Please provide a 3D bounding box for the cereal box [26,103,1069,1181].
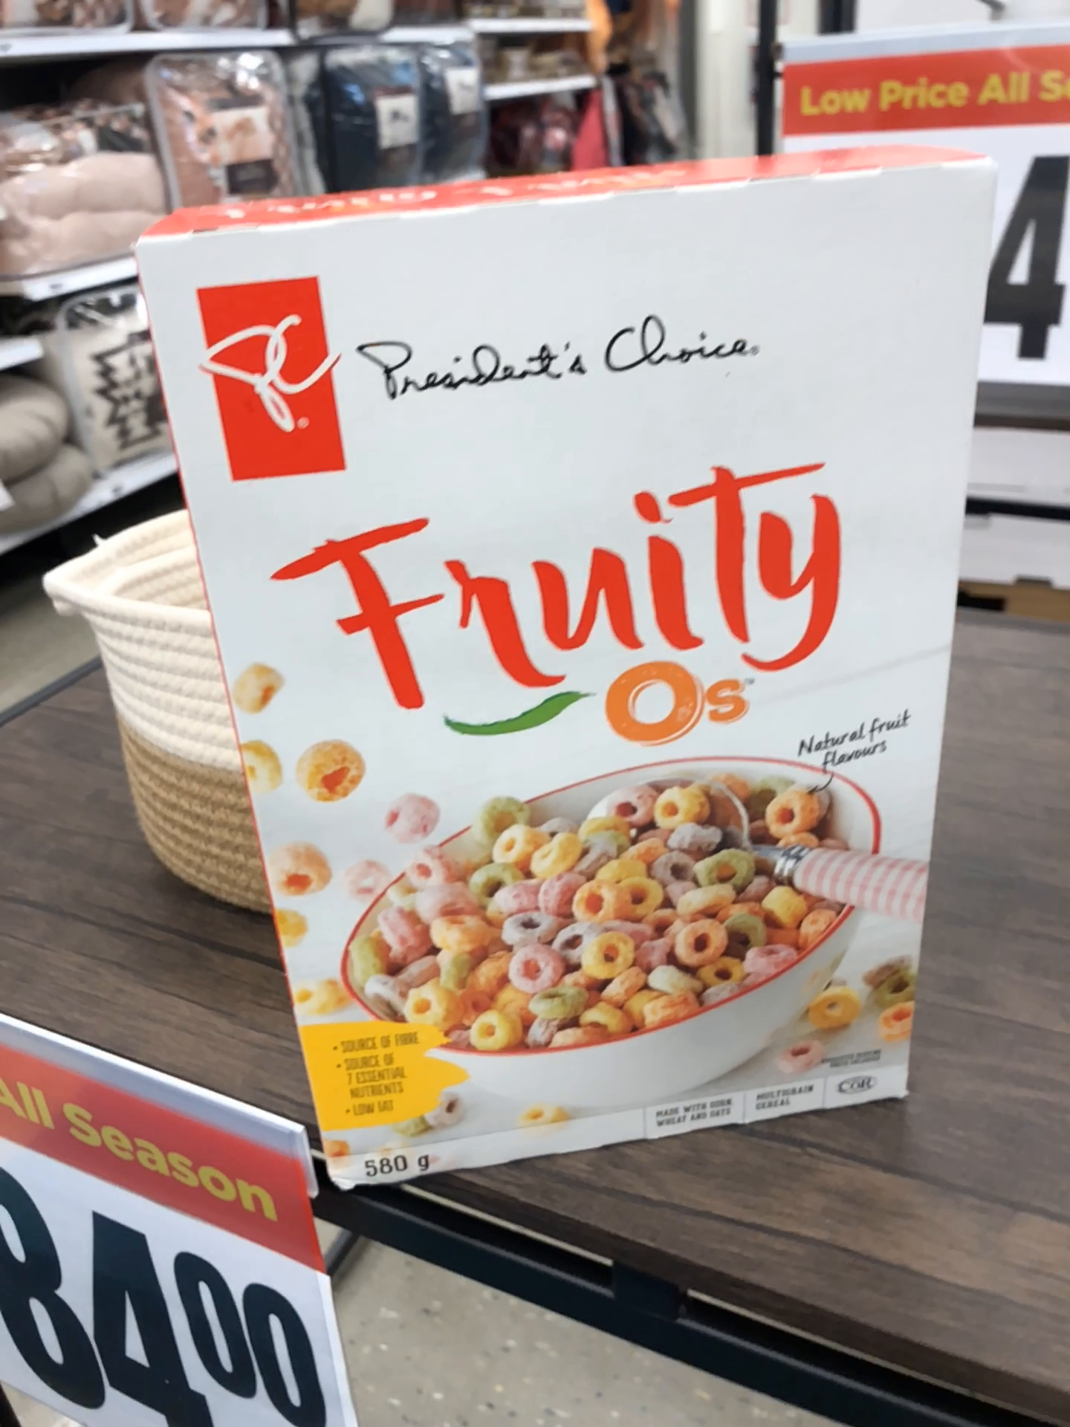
[{"bbox_3d":[0.012,-0.012,0.349,0.220,0.279,0.080,-8,28,-5],"label":"cereal box"}]
